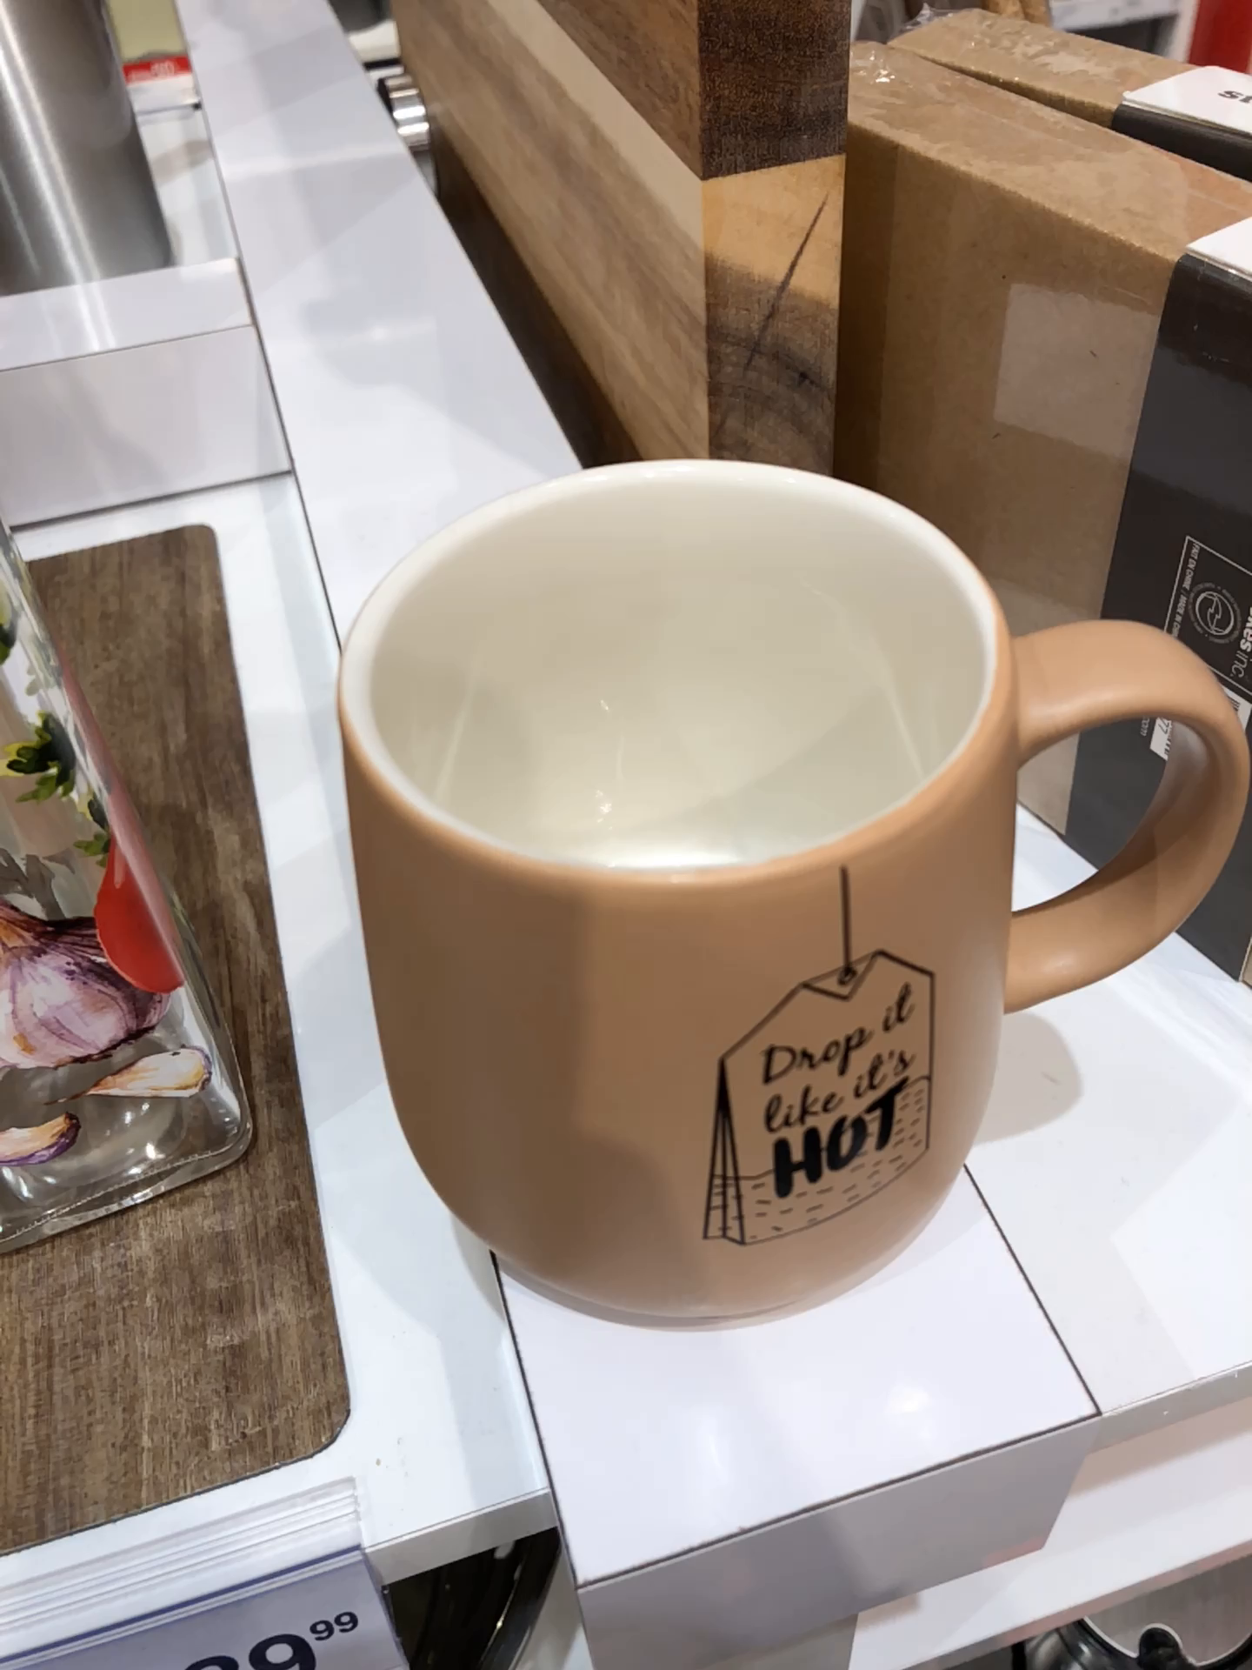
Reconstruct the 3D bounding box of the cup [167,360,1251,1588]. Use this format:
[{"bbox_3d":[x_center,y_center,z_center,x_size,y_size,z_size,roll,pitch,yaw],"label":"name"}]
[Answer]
[{"bbox_3d":[0.020,0.010,0.180,0.110,0.080,0.090,-26,49,-20],"label":"cup"}]
